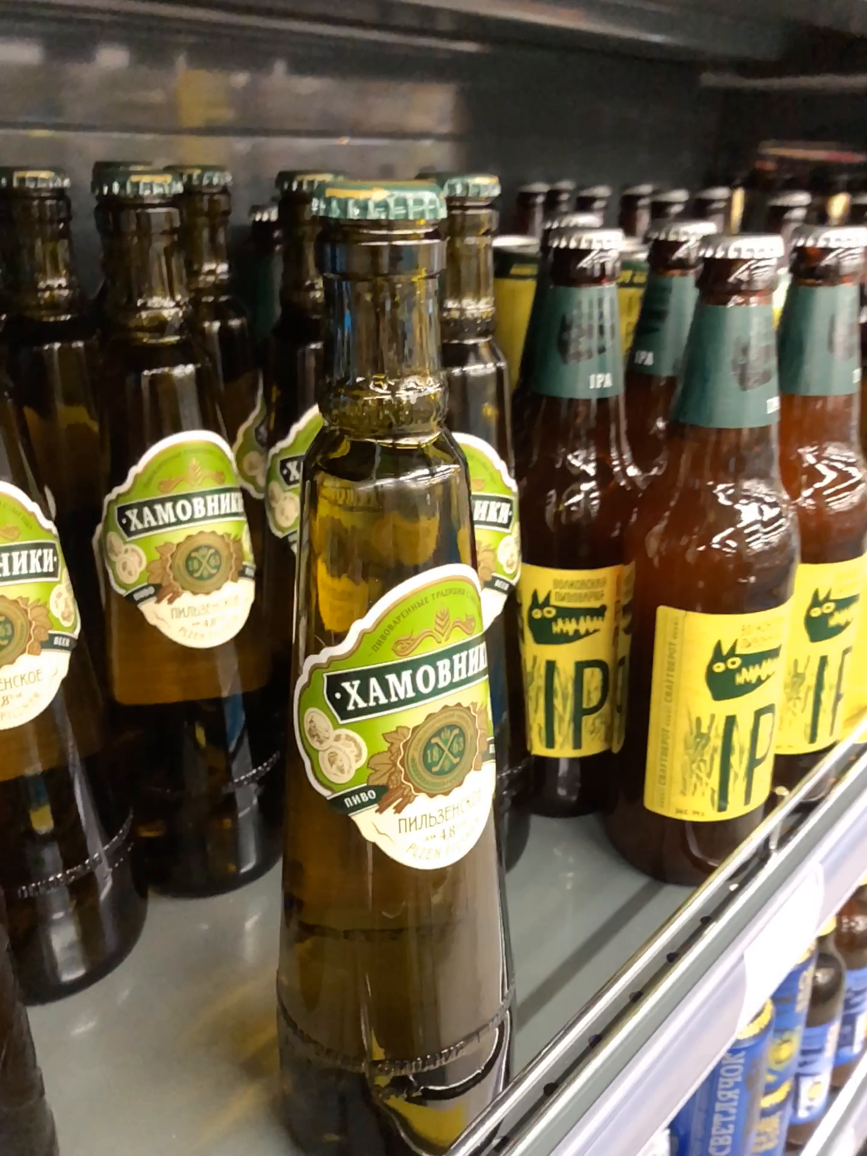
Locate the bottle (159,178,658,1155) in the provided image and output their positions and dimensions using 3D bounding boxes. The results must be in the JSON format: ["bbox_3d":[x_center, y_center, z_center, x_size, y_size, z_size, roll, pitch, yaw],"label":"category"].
[{"bbox_3d":[-0.007,0.042,0.240,0.070,0.260,0.070,0,23,0],"label":"bottle"}]
